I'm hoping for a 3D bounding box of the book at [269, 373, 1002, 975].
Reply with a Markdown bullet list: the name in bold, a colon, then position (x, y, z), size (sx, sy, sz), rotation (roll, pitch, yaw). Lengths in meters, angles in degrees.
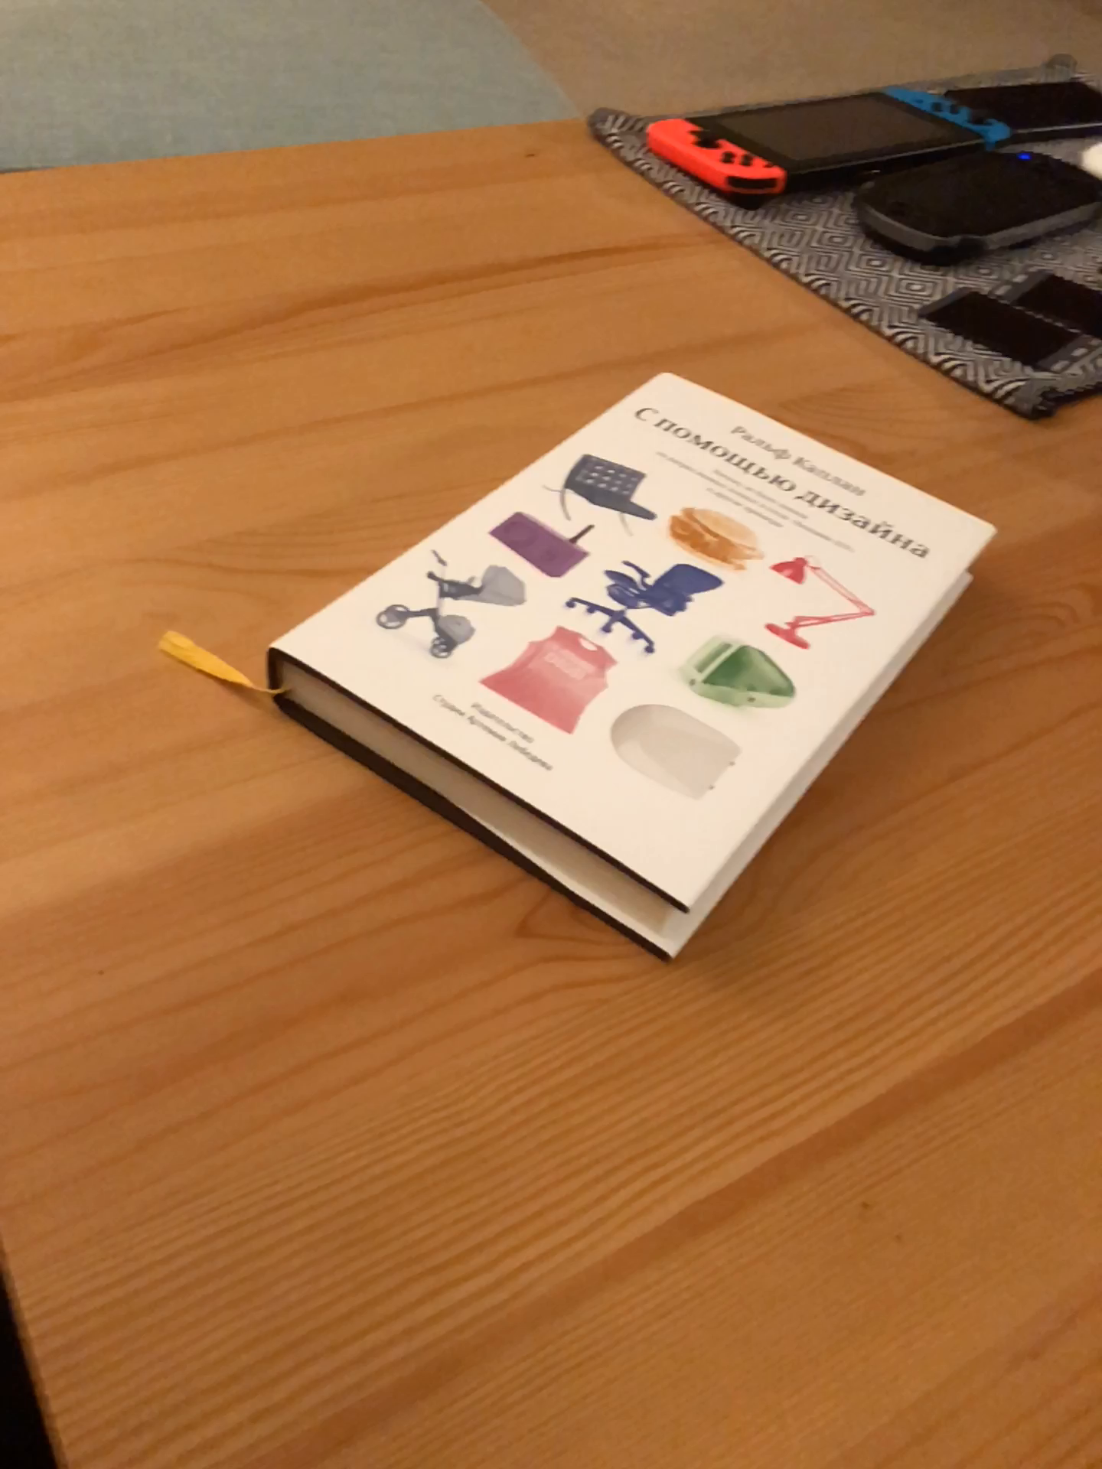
- **book**: position (0.040, -0.042, 0.425), size (0.152, 0.034, 0.227), rotation (31, 50, 20)
